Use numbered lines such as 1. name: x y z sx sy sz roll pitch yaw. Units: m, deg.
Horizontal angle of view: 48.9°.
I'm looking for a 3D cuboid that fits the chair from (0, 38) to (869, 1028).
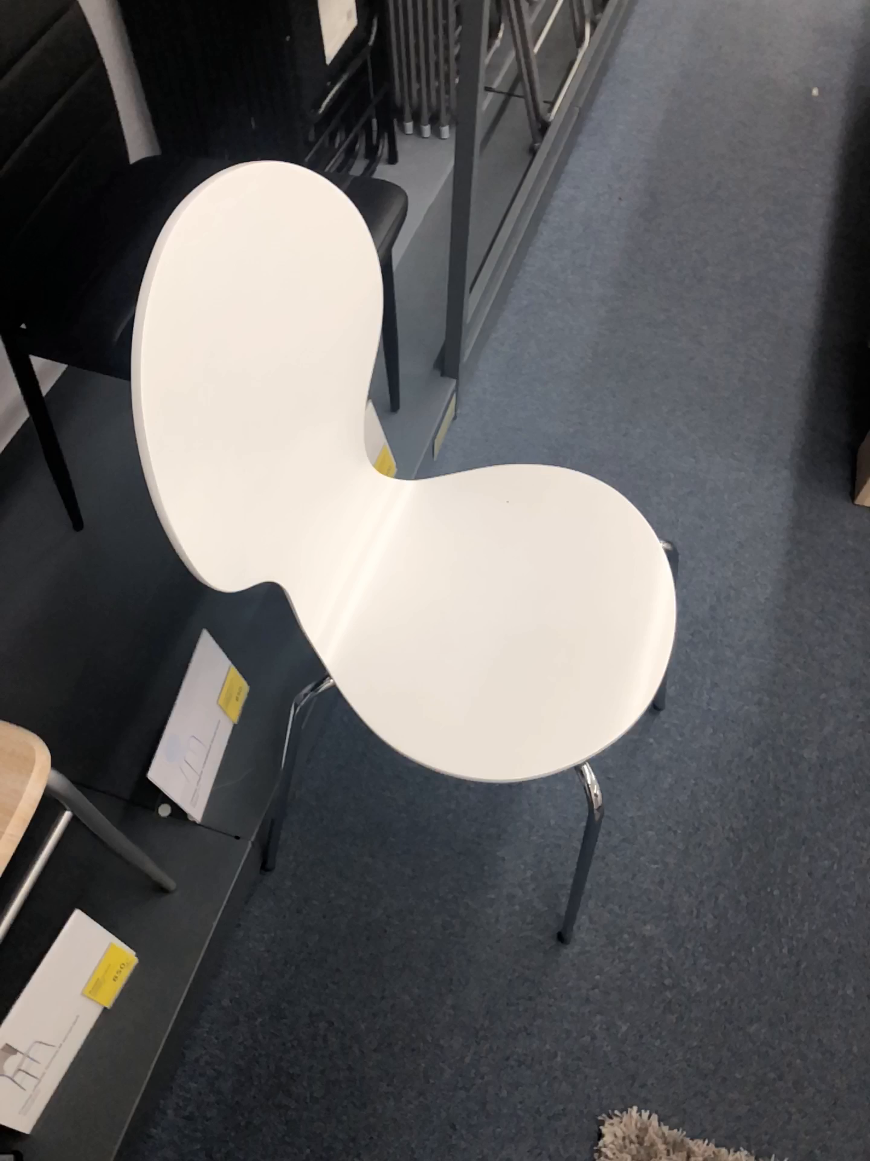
1. chair: 0.034 0.036 1.086 0.540 0.898 0.561 20 58 11
